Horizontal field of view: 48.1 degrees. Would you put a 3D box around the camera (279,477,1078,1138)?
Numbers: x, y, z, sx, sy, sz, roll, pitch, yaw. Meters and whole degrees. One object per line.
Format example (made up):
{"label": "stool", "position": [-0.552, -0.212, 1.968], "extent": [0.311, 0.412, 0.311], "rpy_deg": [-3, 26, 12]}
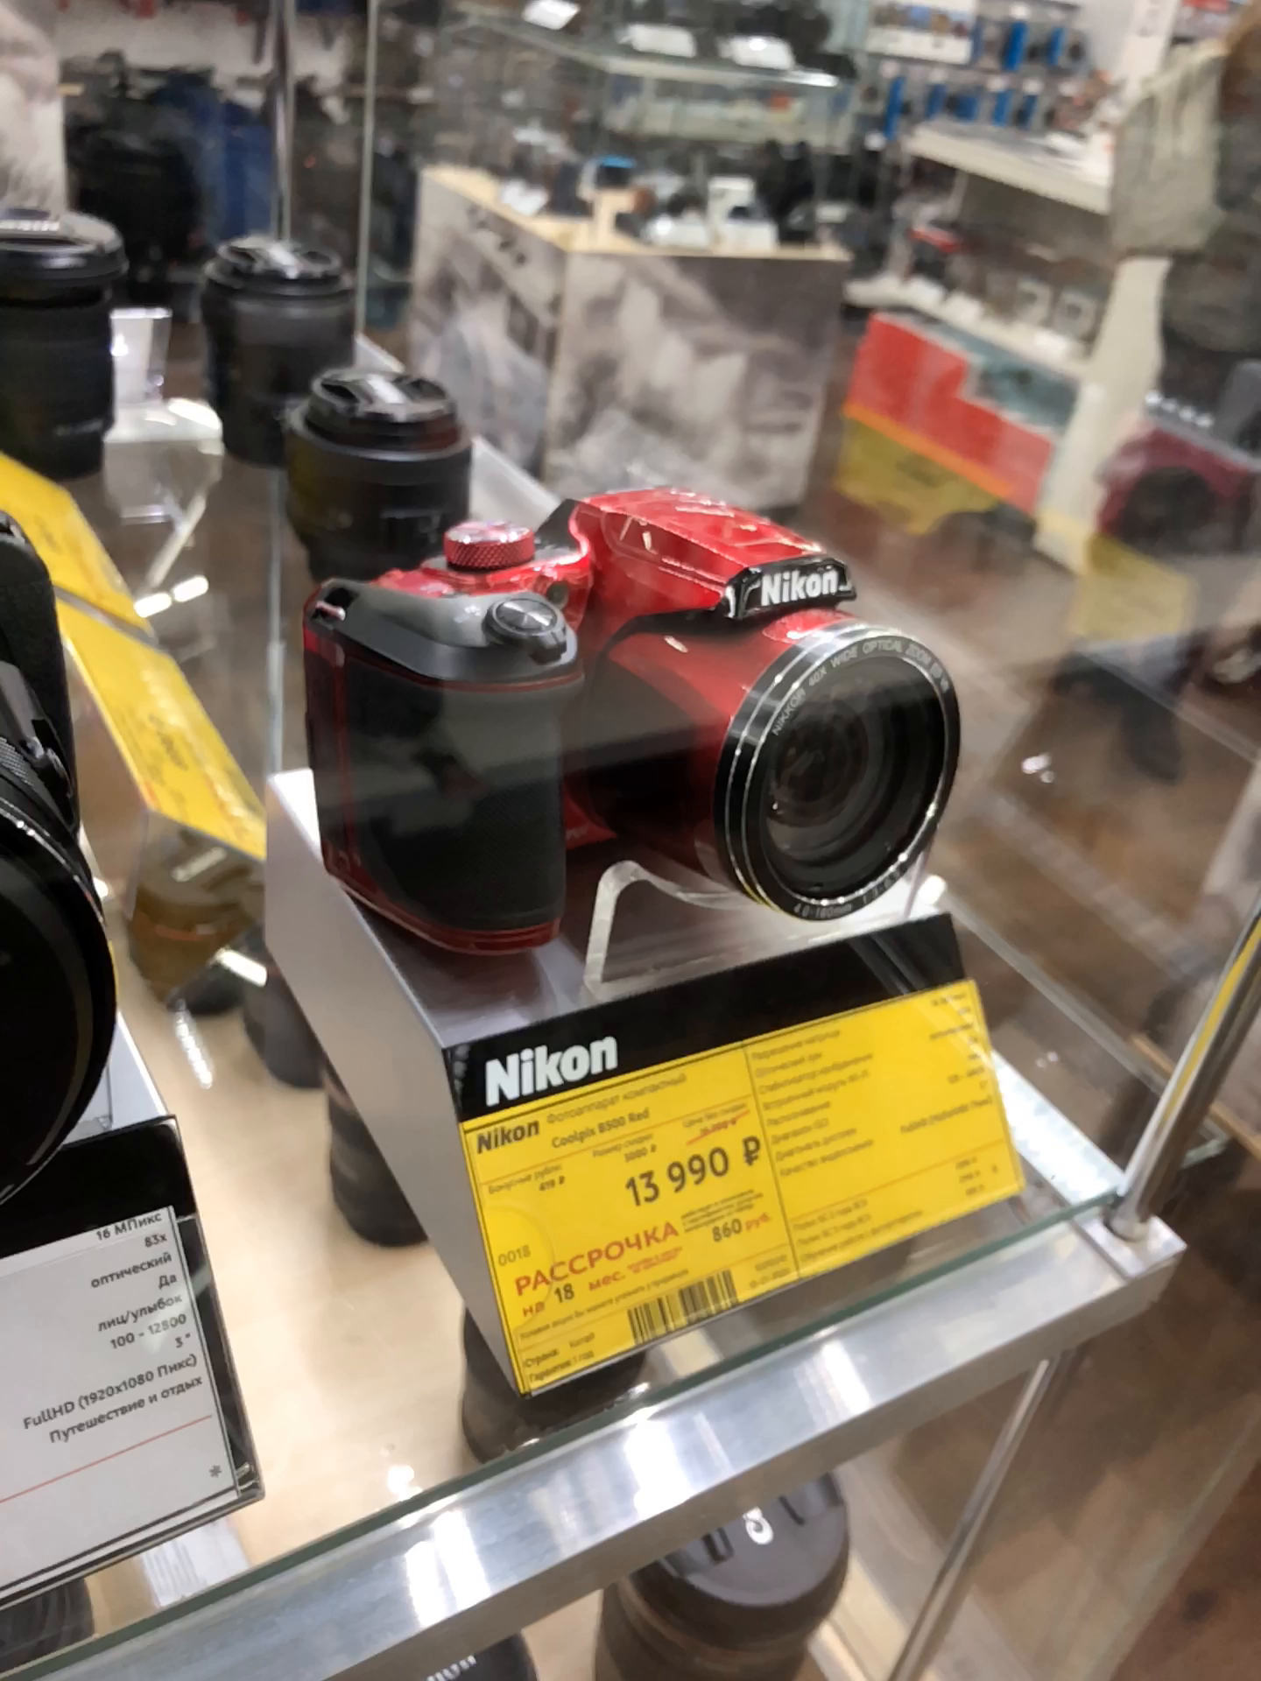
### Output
{"label": "camera", "position": [0.002, -0.018, 0.302], "extent": [0.120, 0.076, 0.110], "rpy_deg": [-12, 39, -30]}
